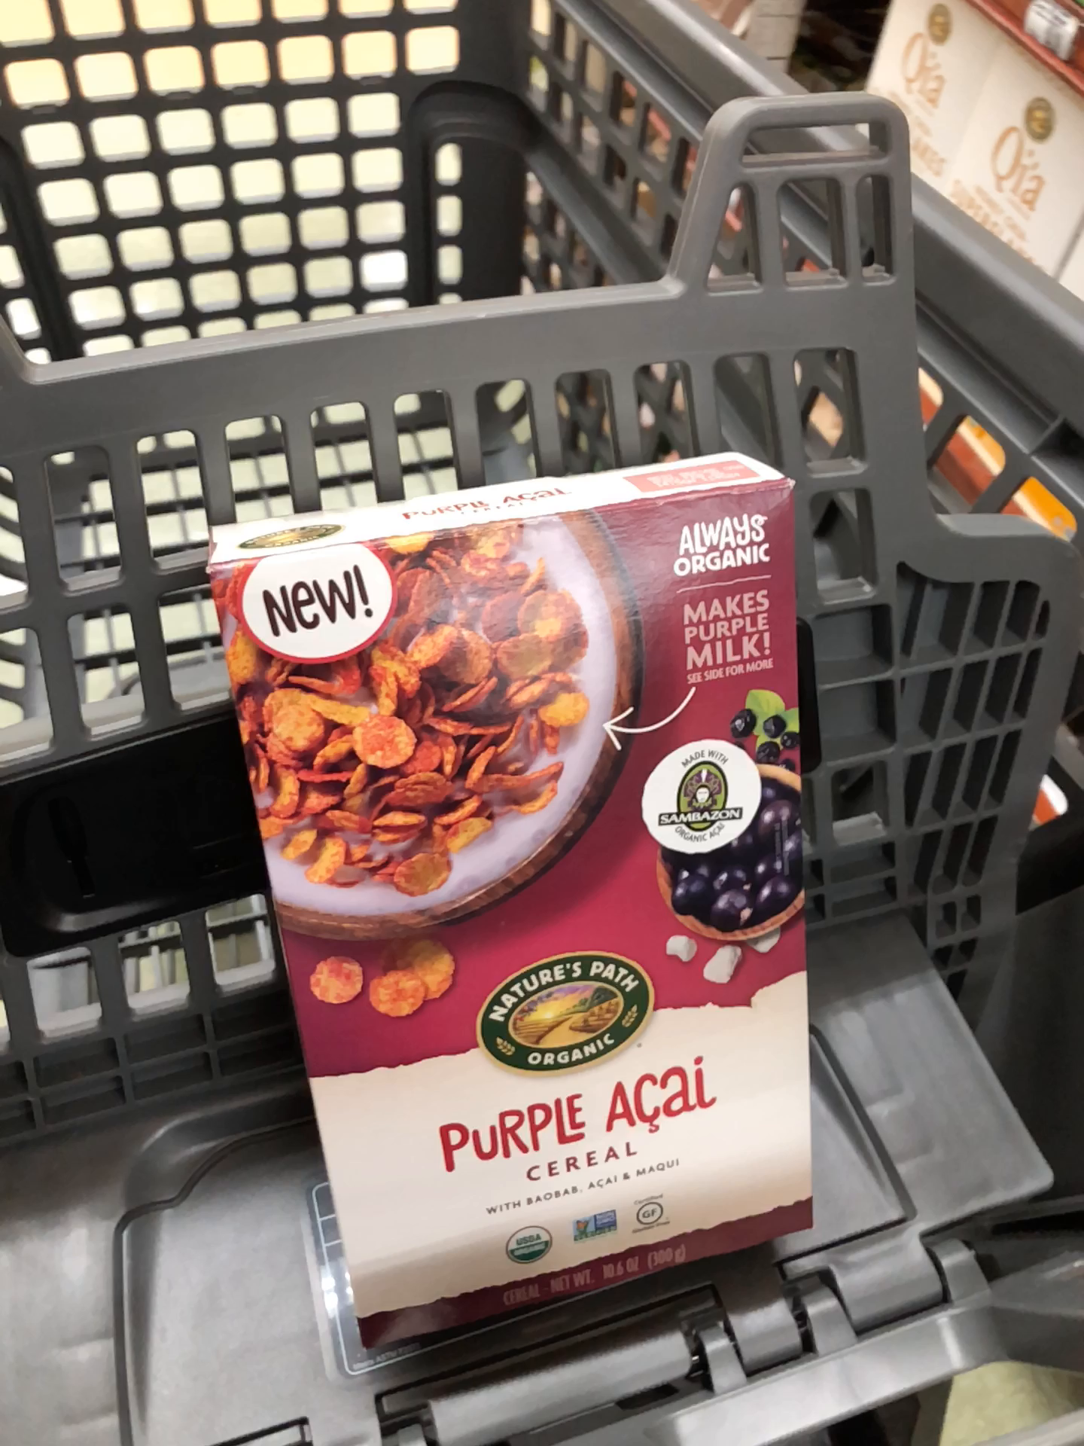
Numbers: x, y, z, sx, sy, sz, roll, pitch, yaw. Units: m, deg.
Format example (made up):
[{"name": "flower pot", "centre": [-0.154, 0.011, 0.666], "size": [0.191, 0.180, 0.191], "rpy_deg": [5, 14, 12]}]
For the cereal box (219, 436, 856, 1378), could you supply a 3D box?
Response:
[{"name": "cereal box", "centre": [0.007, 0.058, 0.390], "size": [0.170, 0.270, 0.070], "rpy_deg": [-10, 21, -13]}]
